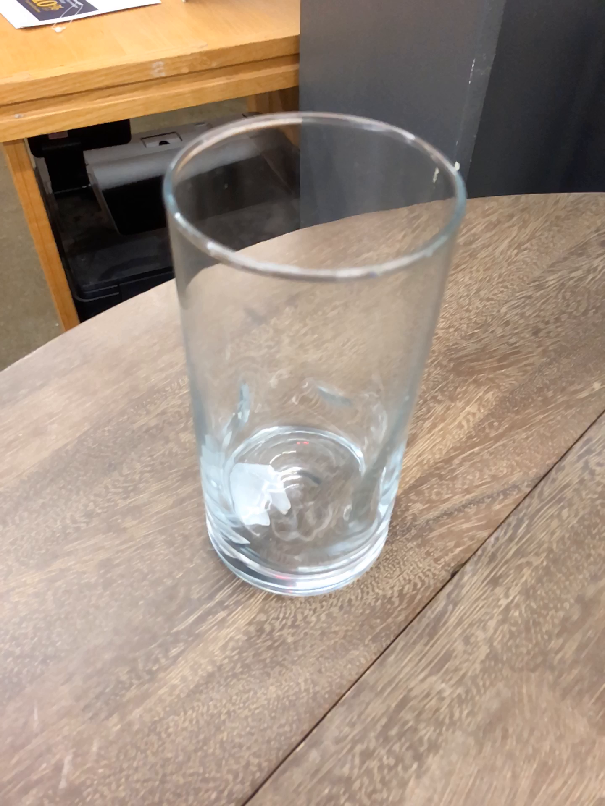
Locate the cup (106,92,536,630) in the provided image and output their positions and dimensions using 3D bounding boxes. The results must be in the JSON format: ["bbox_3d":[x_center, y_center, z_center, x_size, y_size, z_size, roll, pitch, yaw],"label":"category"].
[{"bbox_3d":[-0.002,-0.006,0.215,0.081,0.144,0.078,1,47,-1],"label":"cup"}]
